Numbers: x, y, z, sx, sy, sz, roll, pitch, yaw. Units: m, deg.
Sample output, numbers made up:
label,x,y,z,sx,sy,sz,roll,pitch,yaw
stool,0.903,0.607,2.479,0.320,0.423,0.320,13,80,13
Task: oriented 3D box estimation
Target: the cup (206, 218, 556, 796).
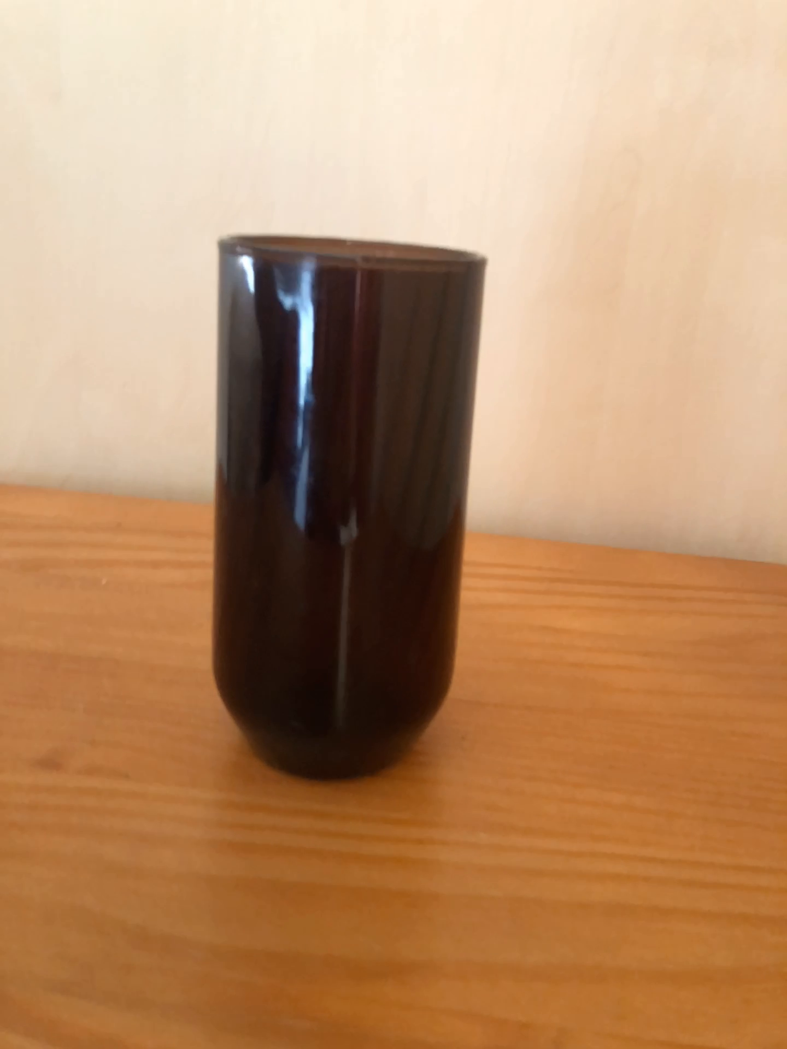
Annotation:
label,x,y,z,sx,sy,sz,roll,pitch,yaw
cup,-0.011,-0.007,0.198,0.060,0.112,0.061,4,21,-2
